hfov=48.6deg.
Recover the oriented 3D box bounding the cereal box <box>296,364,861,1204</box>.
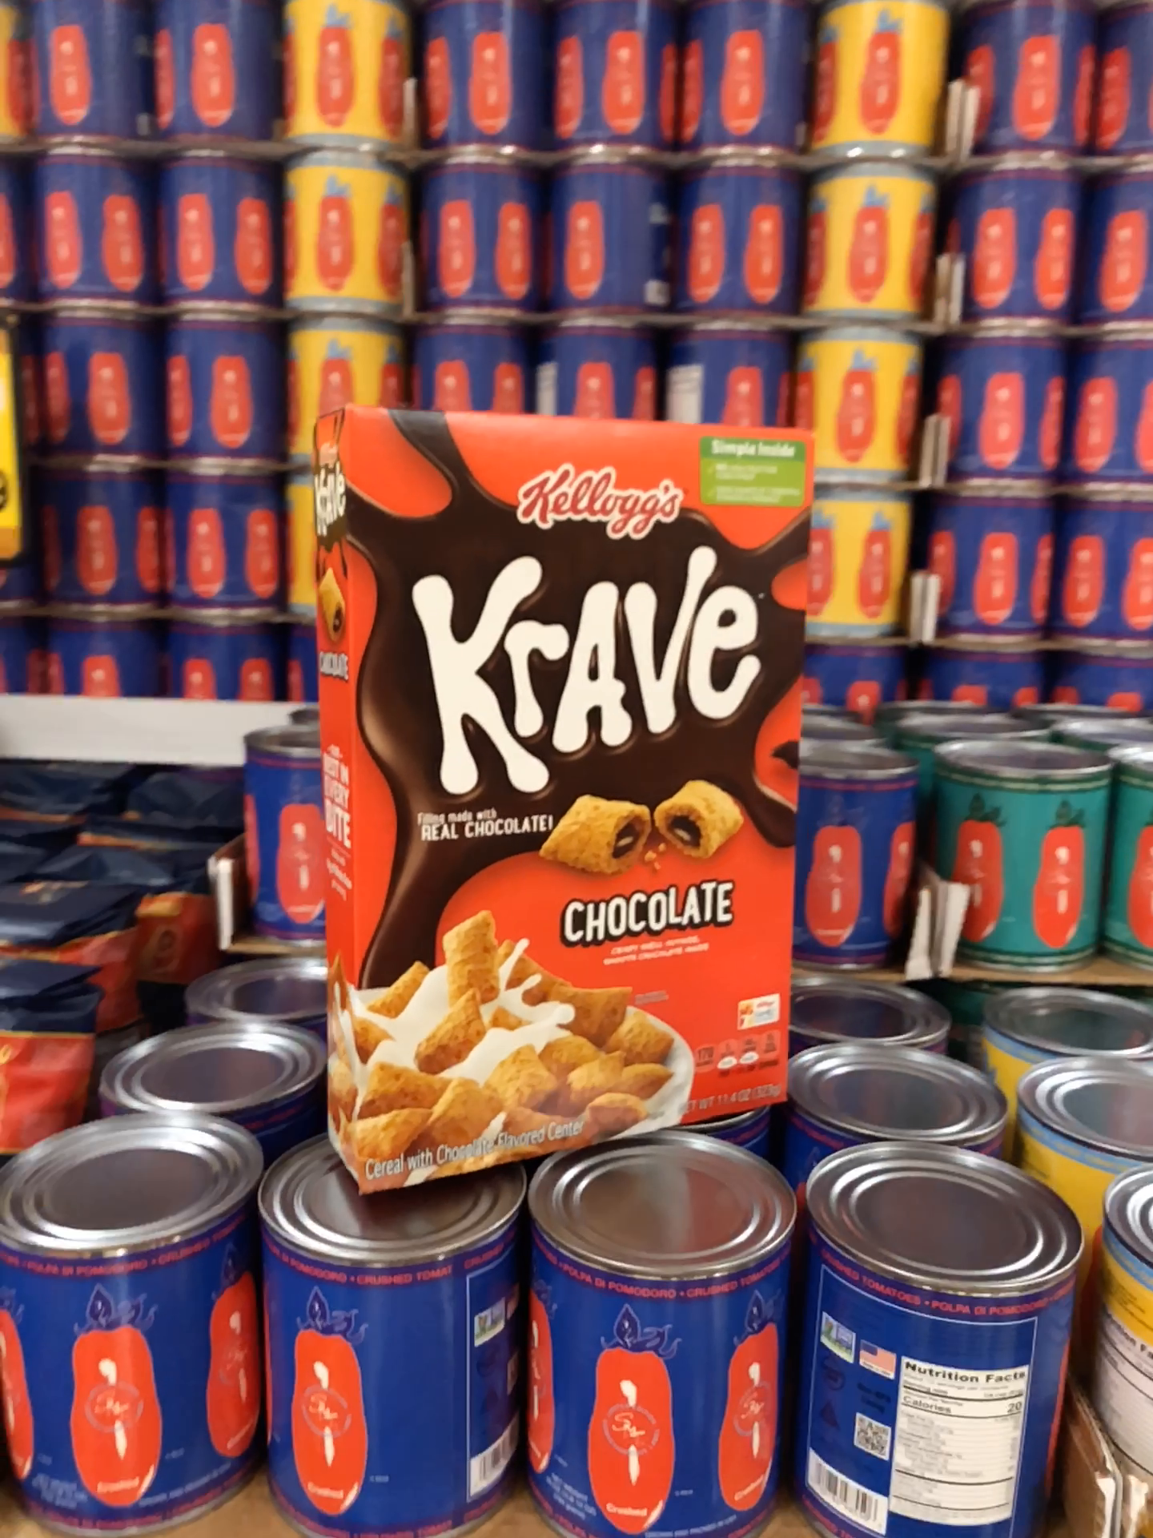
[{"bbox_3d":[0.003,0.001,0.507,0.210,0.289,0.060,-4,10,-27],"label":"cereal box"}]
